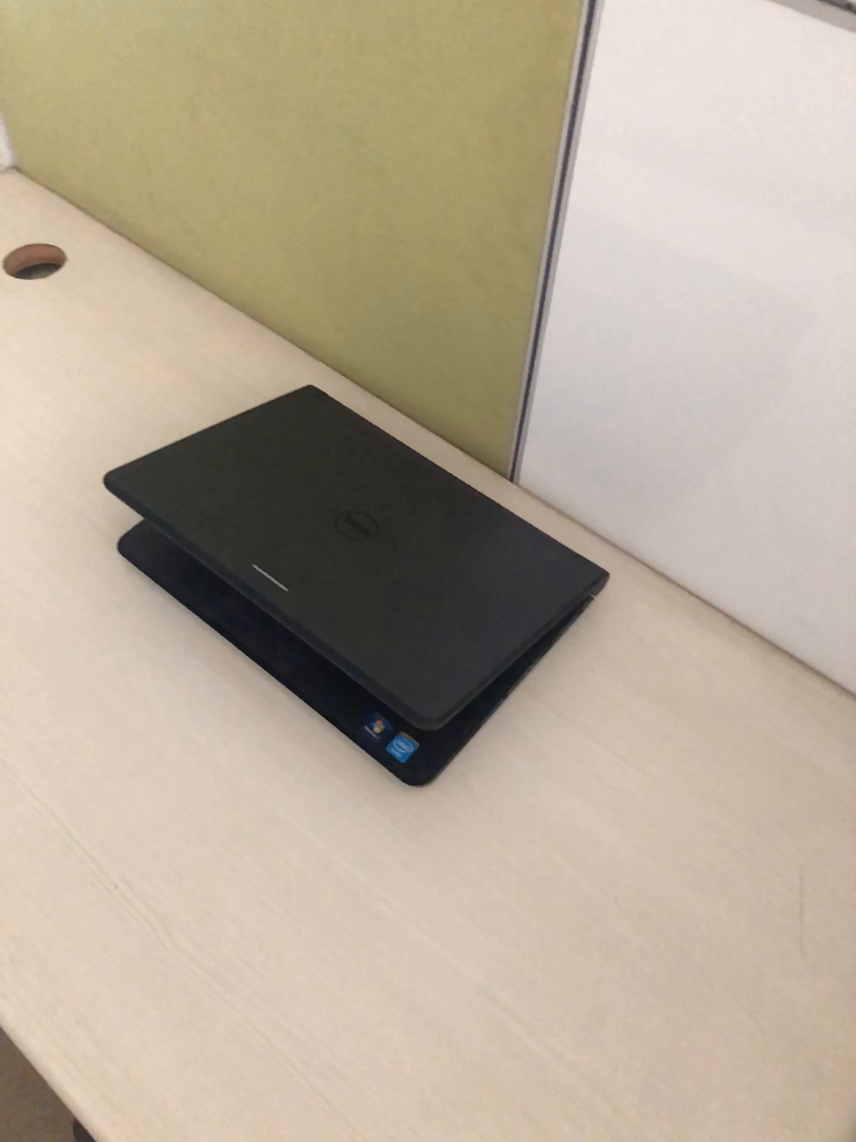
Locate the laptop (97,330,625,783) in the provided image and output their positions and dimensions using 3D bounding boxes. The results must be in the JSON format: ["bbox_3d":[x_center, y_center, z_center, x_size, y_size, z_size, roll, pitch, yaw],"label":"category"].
[{"bbox_3d":[-0.053,-0.032,0.725,0.323,0.072,0.229,34,59,22],"label":"laptop"}]
